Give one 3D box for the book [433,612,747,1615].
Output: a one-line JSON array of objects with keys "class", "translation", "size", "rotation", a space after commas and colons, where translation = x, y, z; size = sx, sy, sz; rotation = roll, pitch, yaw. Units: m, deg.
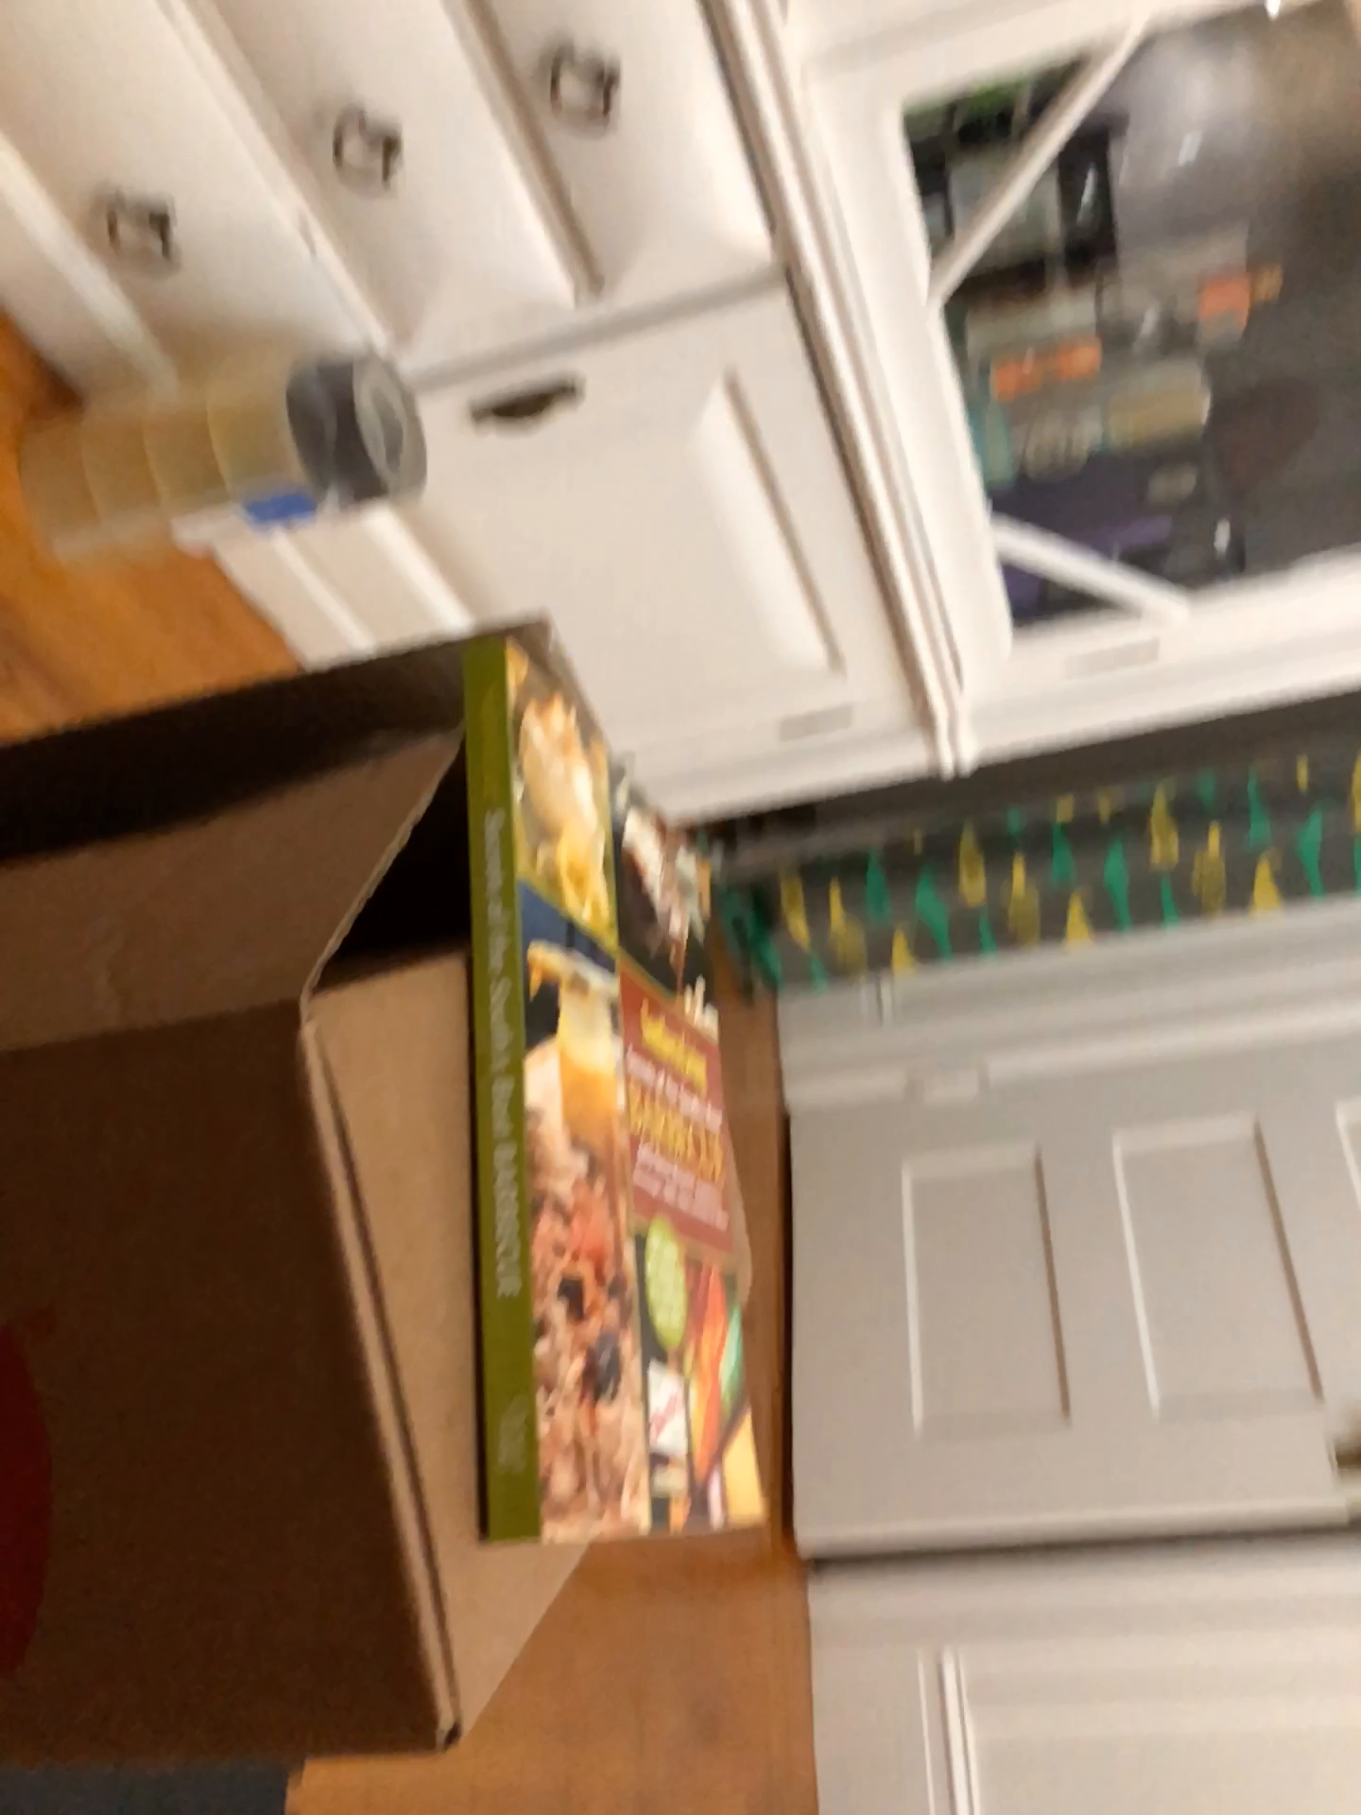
[{"class": "book", "translation": [-0.027, 0.079, 0.525], "size": [0.221, 0.020, 0.290], "rotation": [48, 35, -62]}]
